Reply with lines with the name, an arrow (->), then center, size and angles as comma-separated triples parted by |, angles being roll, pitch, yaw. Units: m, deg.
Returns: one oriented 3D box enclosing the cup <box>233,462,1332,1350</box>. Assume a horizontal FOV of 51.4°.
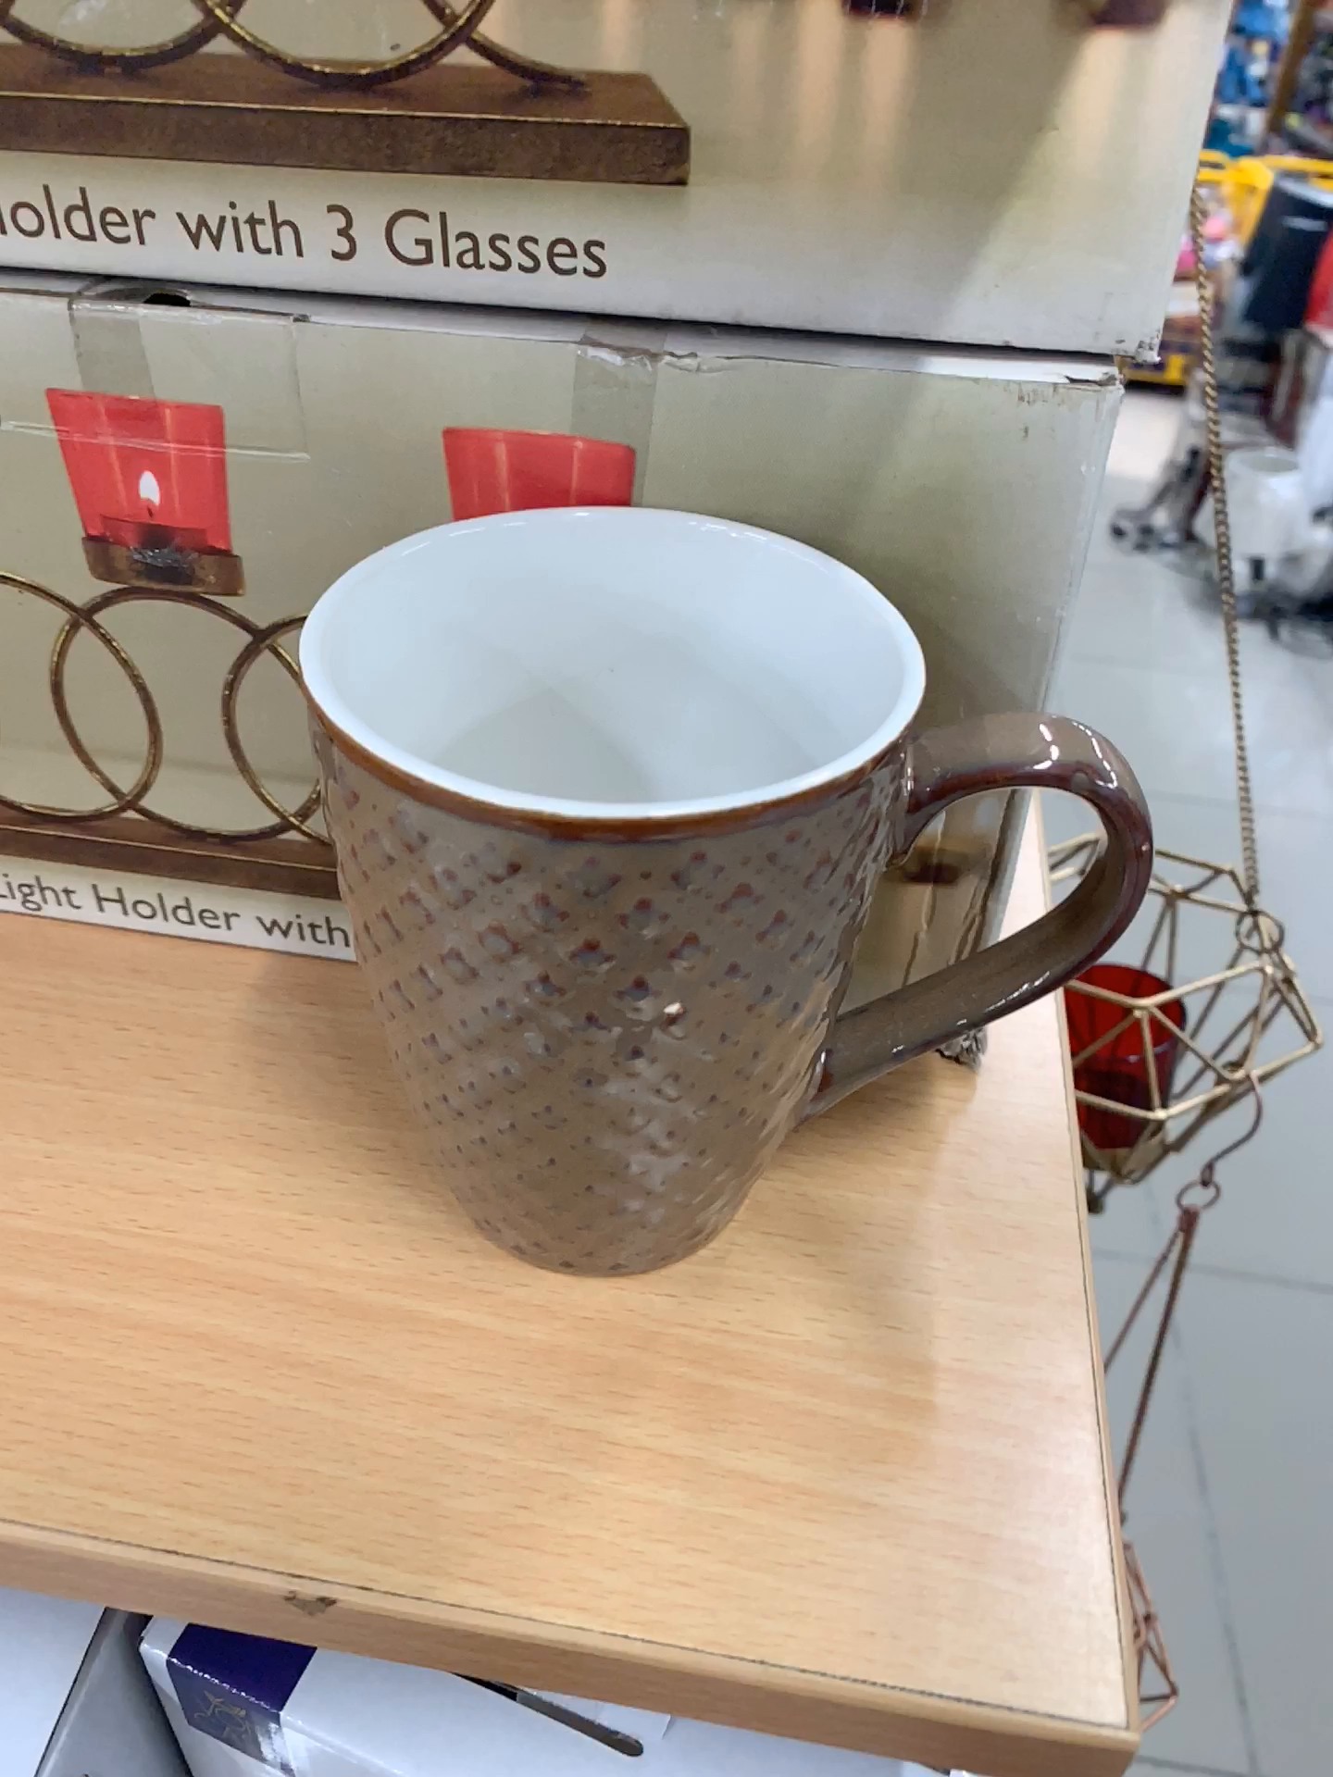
cup -> 0.017, -0.002, 0.217 | 0.130, 0.090, 0.090 | 6, 34, 2
